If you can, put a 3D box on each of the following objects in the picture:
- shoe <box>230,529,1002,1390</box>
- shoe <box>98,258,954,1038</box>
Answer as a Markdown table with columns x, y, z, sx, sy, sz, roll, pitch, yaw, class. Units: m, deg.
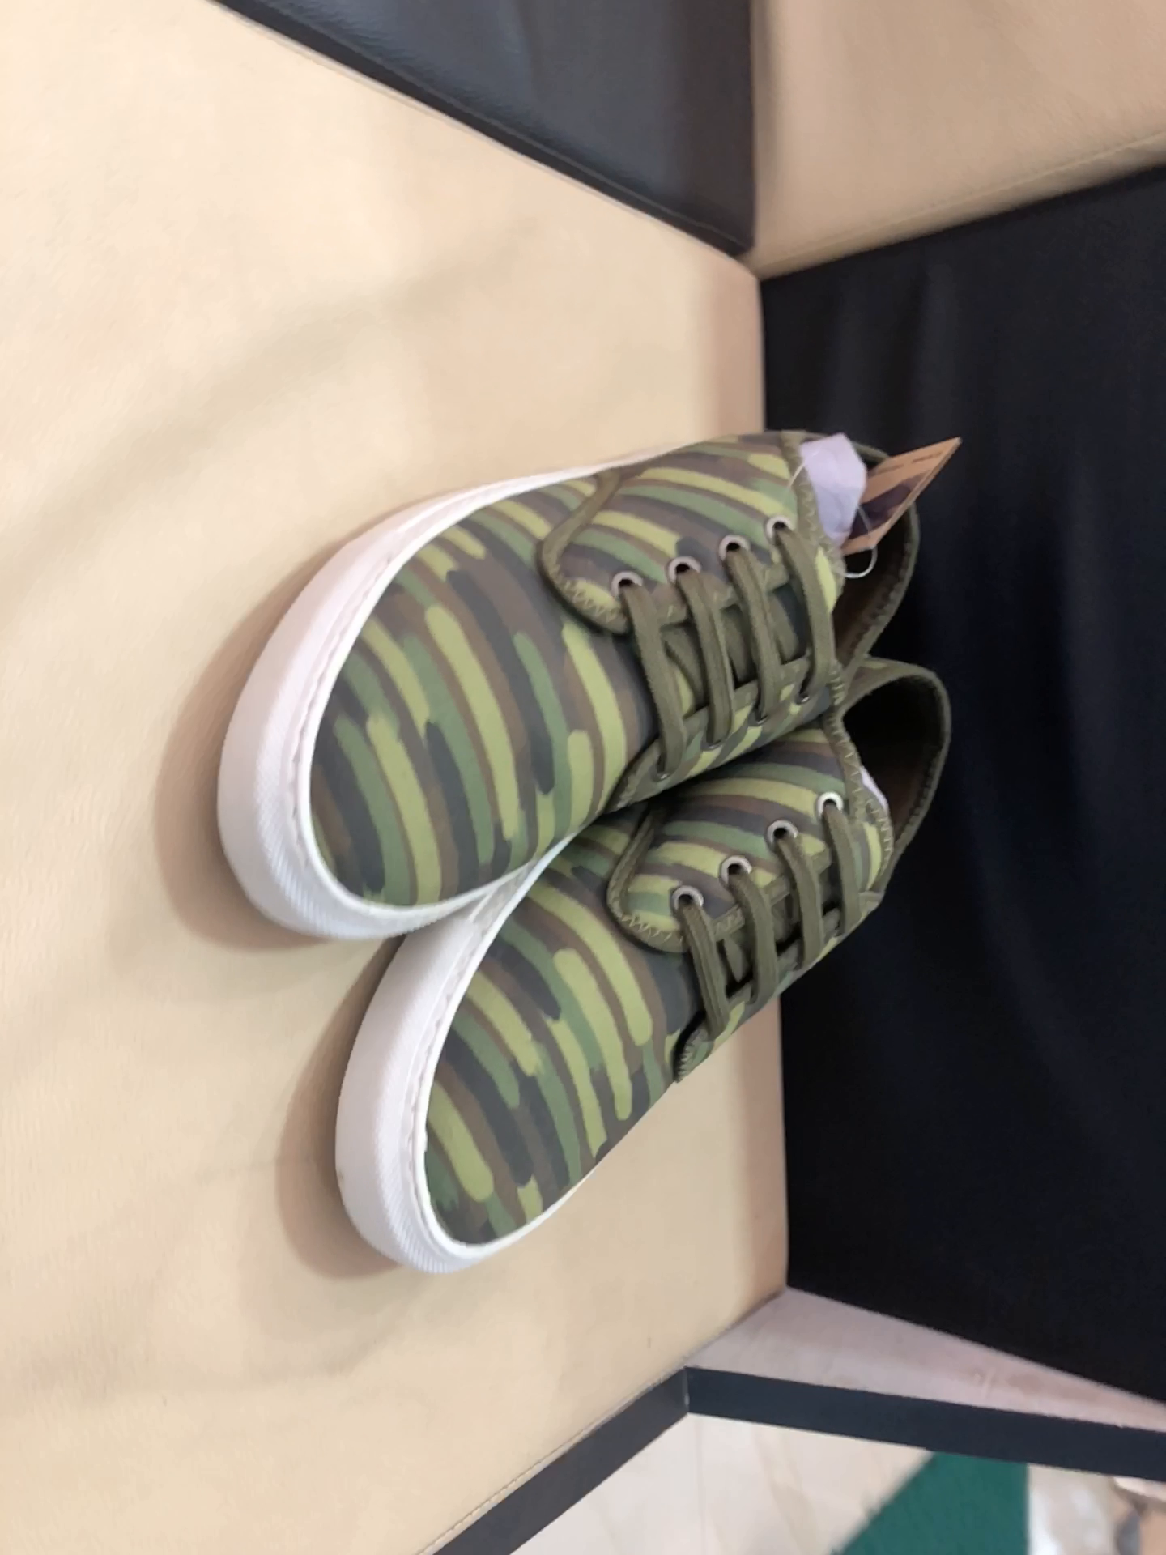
| x | y | z | sx | sy | sz | roll | pitch | yaw | class |
| --- | --- | --- | --- | --- | --- | --- | --- | --- | --- |
| 0.040 | 0.030 | 0.435 | 0.312 | 0.079 | 0.100 | -44 | 123 | -41 | shoe |
| 0.014 | -0.063 | 0.413 | 0.312 | 0.079 | 0.100 | -44 | 123 | -41 | shoe |
